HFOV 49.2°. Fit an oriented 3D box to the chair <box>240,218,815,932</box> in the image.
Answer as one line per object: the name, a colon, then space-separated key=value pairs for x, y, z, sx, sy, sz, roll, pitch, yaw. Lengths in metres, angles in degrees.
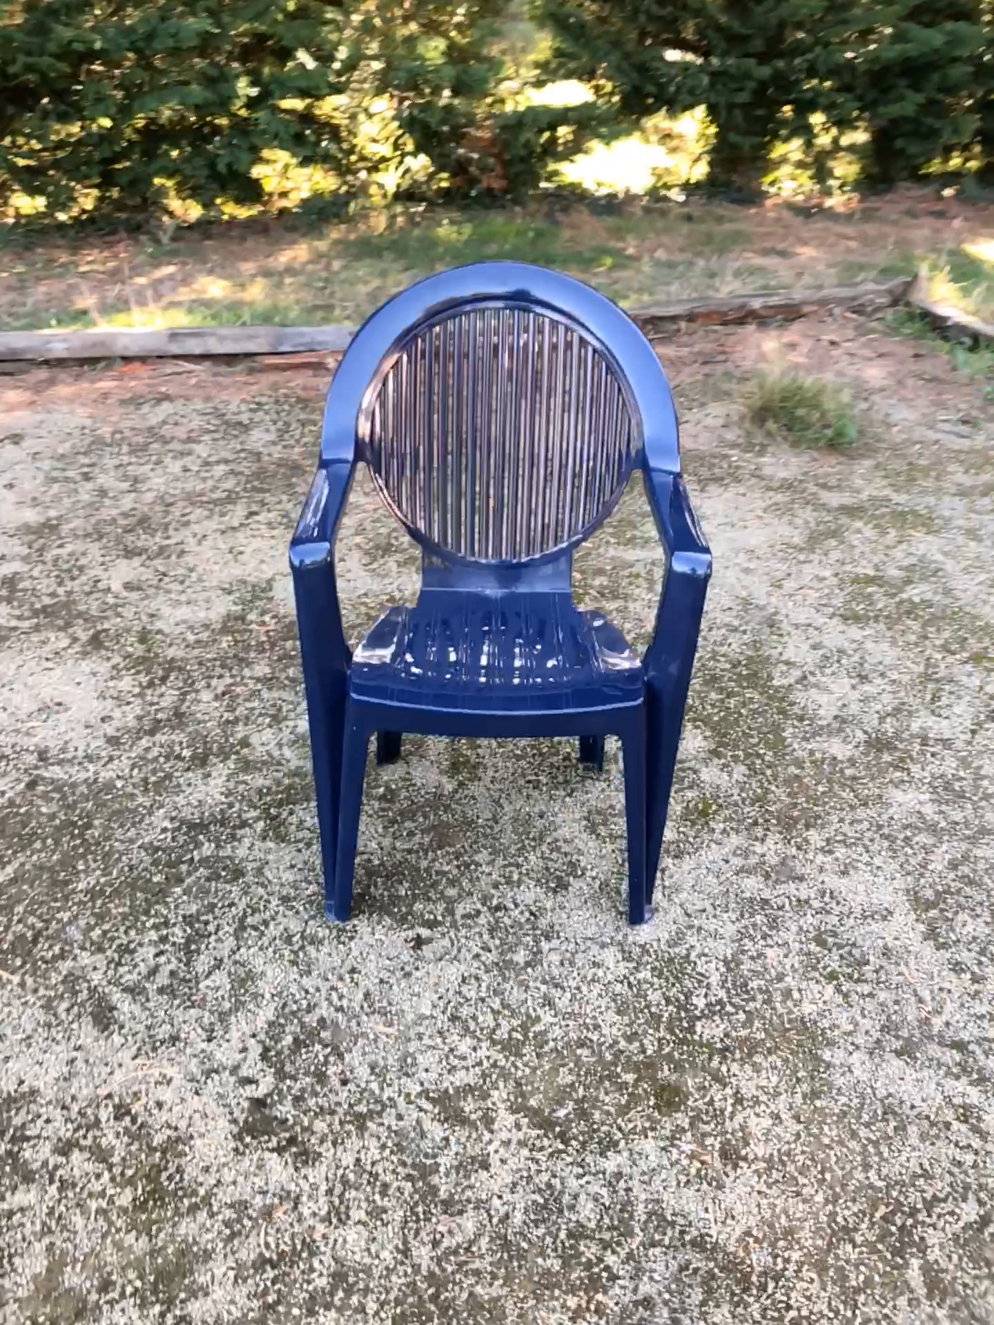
chair: x=0.010 y=-0.126 z=1.583 sx=0.590 sy=0.855 sz=0.573 roll=0 pitch=33 yaw=-3
